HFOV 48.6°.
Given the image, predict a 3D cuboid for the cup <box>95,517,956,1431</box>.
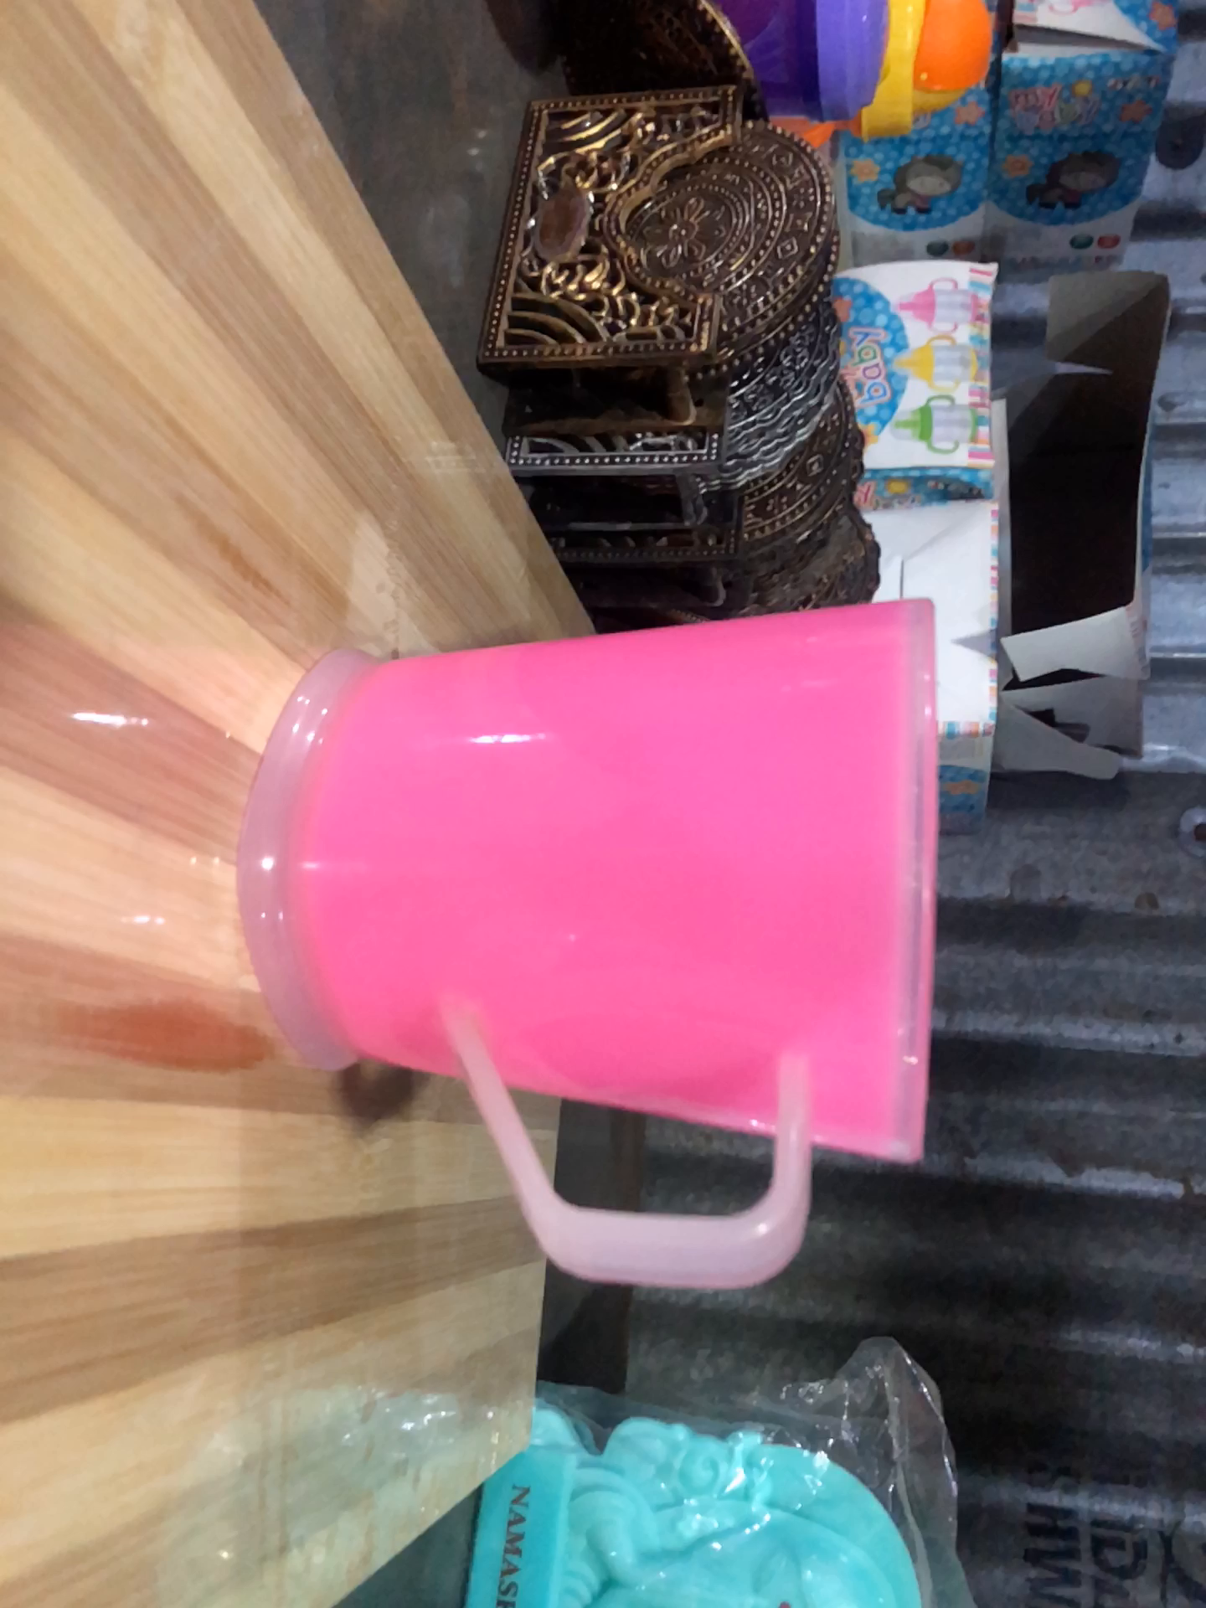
[{"bbox_3d":[0.002,0.021,0.214,0.070,0.100,0.120,79,17,-51],"label":"cup"}]
